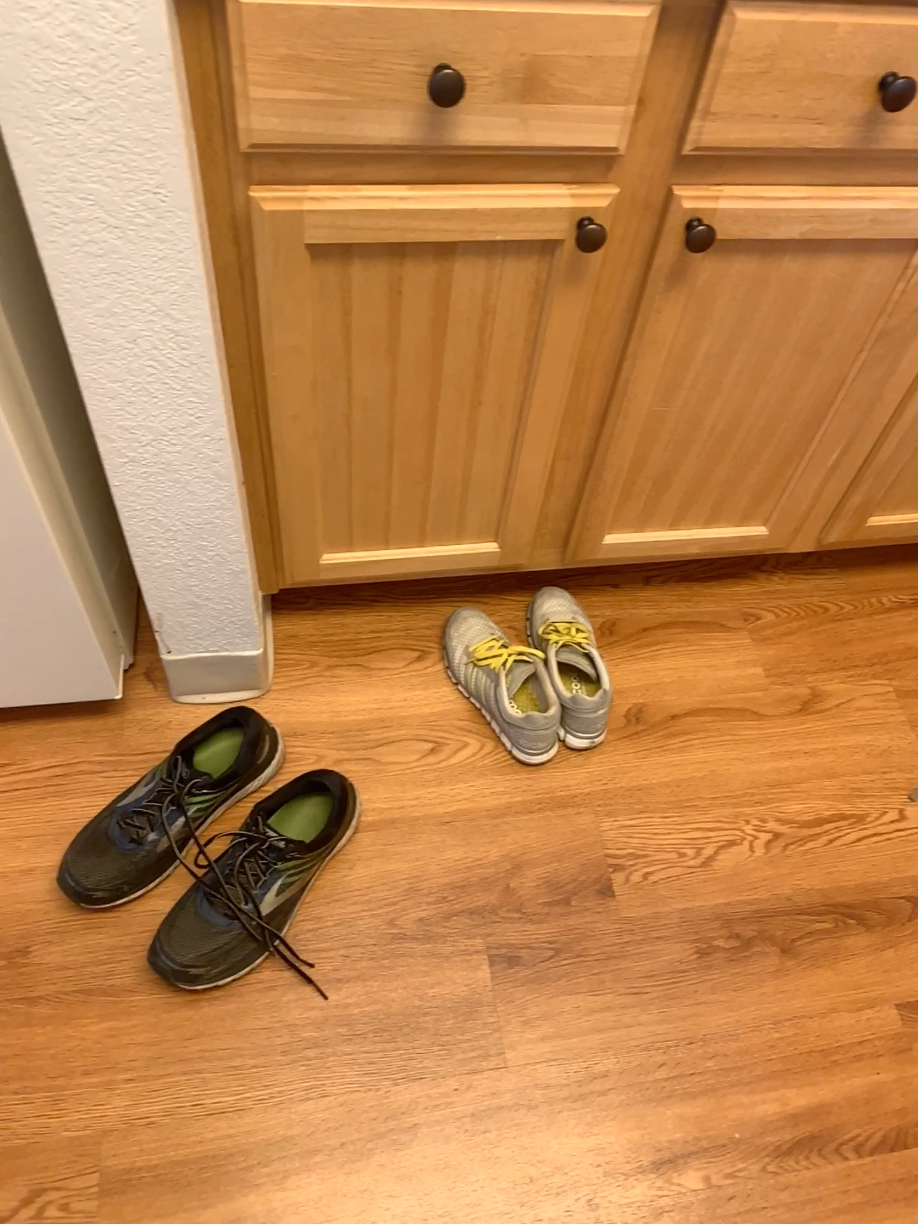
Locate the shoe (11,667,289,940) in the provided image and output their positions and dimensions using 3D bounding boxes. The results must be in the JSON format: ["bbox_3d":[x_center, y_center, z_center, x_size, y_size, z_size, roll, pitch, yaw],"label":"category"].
[{"bbox_3d":[-0.337,0.214,1.069,0.100,0.139,0.281,38,59,19],"label":"shoe"}]

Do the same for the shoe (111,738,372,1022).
[{"bbox_3d":[-0.231,0.297,1.055,0.110,0.139,0.271,36,58,18],"label":"shoe"}]

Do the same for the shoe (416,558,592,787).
[{"bbox_3d":[0.053,0.076,1.238,0.100,0.110,0.271,-25,61,-15],"label":"shoe"}]

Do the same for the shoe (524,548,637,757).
[{"bbox_3d":[0.165,0.053,1.325,0.100,0.110,0.271,-6,55,-3],"label":"shoe"}]
